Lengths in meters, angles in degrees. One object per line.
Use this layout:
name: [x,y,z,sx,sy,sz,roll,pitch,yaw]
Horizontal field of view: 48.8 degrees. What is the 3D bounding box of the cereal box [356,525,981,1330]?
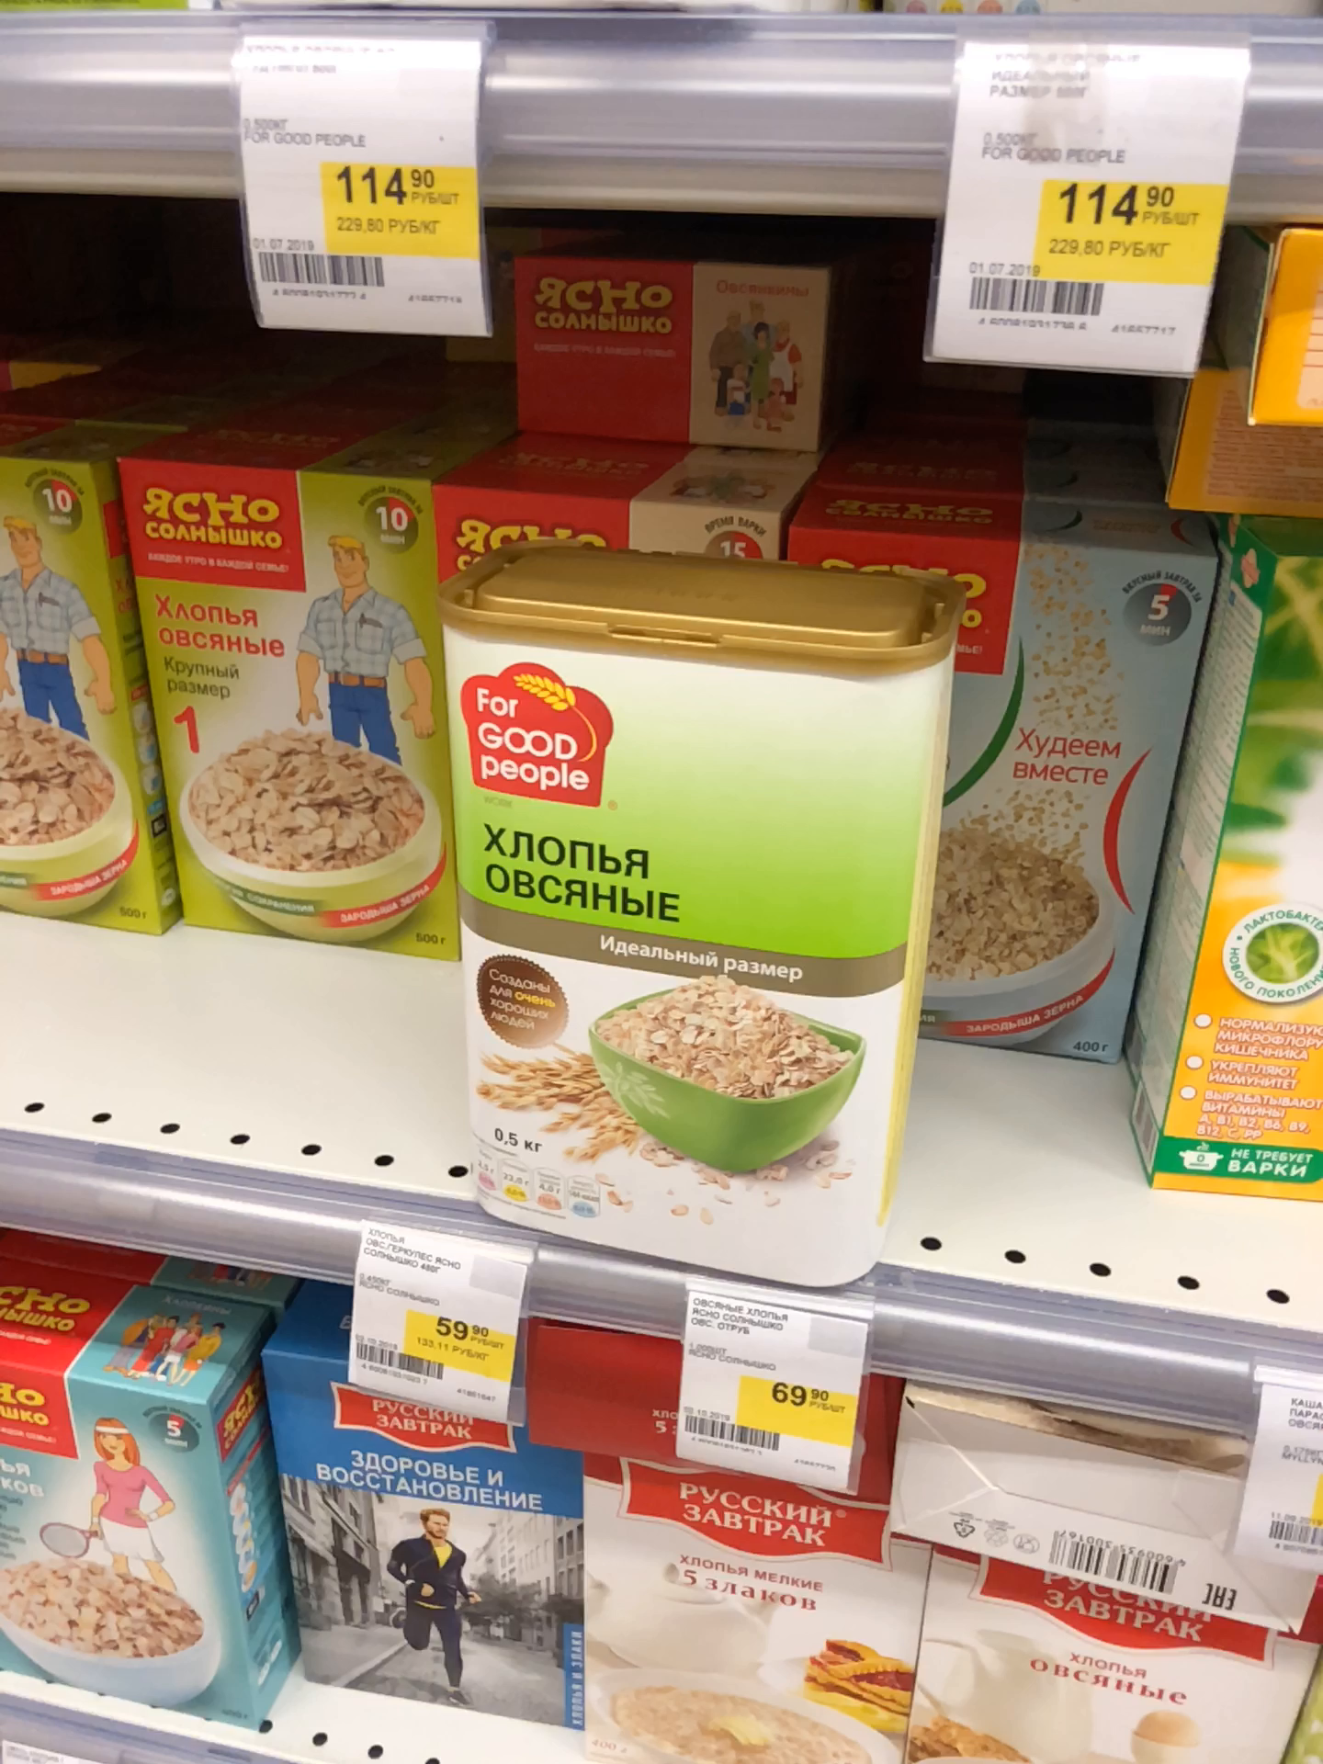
cereal box: [0.005,0.009,0.417,0.140,0.189,0.090,9,27,16]
